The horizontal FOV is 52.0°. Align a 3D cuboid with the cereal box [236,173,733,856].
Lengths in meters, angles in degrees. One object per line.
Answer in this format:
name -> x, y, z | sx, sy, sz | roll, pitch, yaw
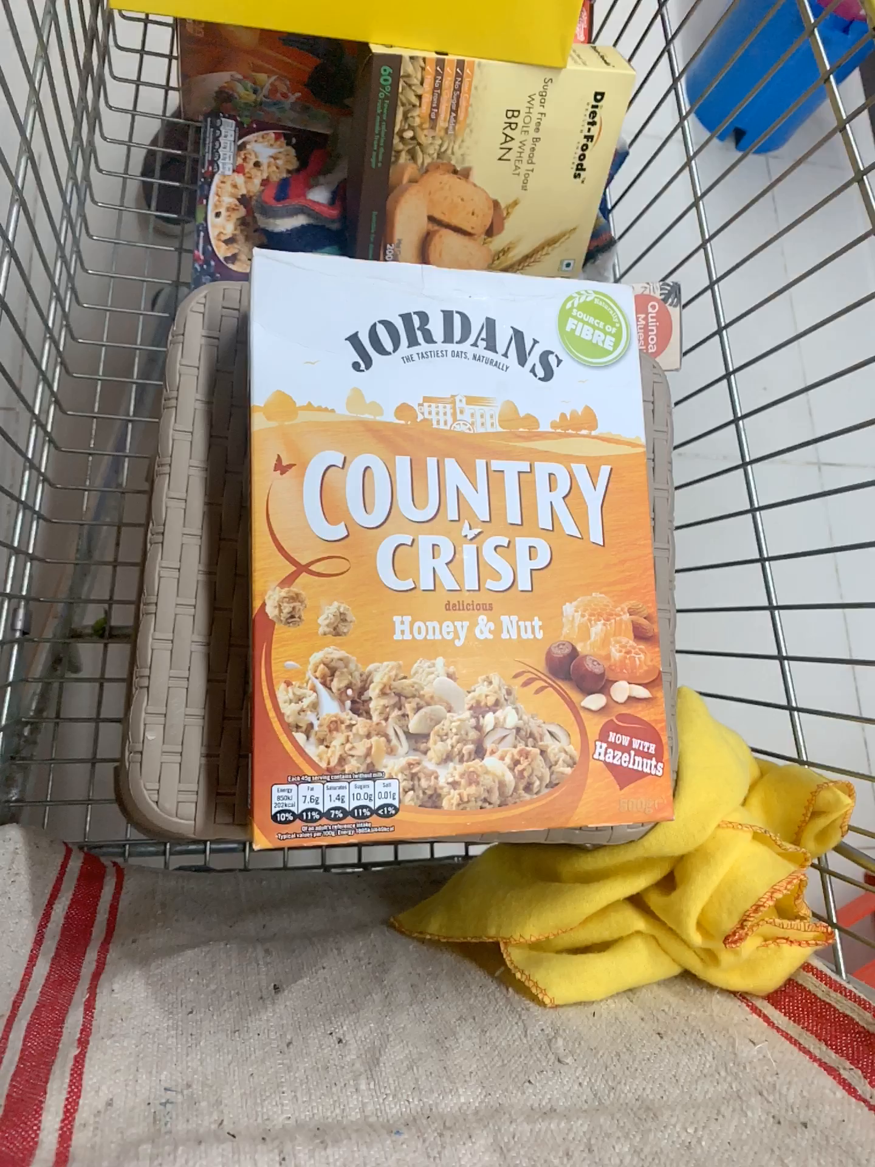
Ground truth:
cereal box -> 0.013, -0.025, 0.395 | 0.190, 0.080, 0.260 | 2, 79, -15
